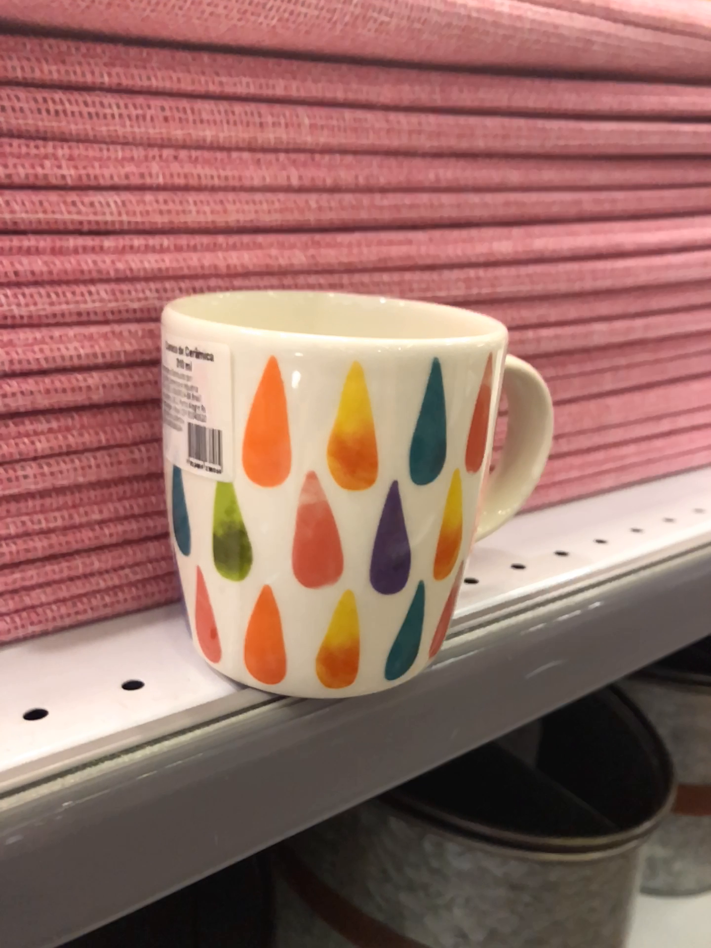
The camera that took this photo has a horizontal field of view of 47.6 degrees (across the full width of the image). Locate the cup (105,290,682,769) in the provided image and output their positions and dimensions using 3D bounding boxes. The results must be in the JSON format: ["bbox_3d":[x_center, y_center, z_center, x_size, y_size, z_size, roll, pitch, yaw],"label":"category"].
[{"bbox_3d":[0.010,-0.002,0.232,0.130,0.090,0.090,-10,22,-38],"label":"cup"}]
